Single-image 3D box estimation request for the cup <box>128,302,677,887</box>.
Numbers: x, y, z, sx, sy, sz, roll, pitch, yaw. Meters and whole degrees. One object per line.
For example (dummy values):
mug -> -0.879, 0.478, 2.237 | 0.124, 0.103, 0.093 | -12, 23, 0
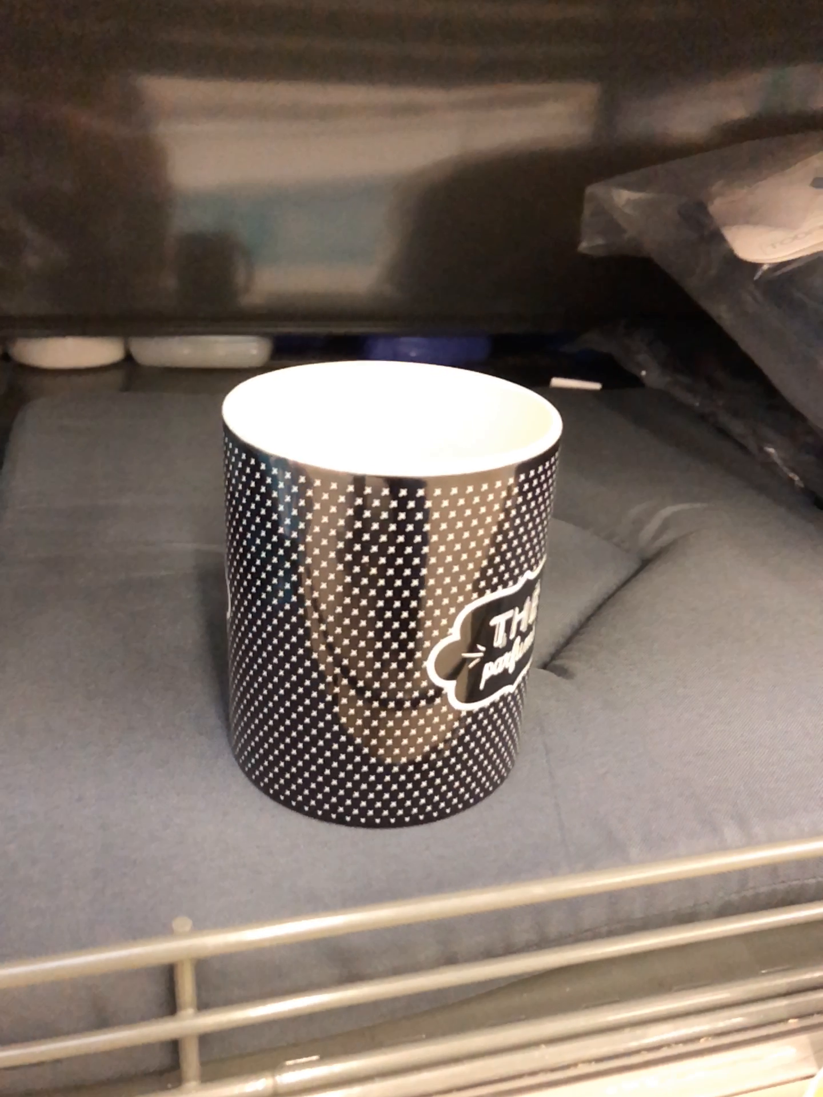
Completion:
cup -> 0.004, -0.002, 0.250 | 0.090, 0.099, 0.121 | 16, 28, 25
